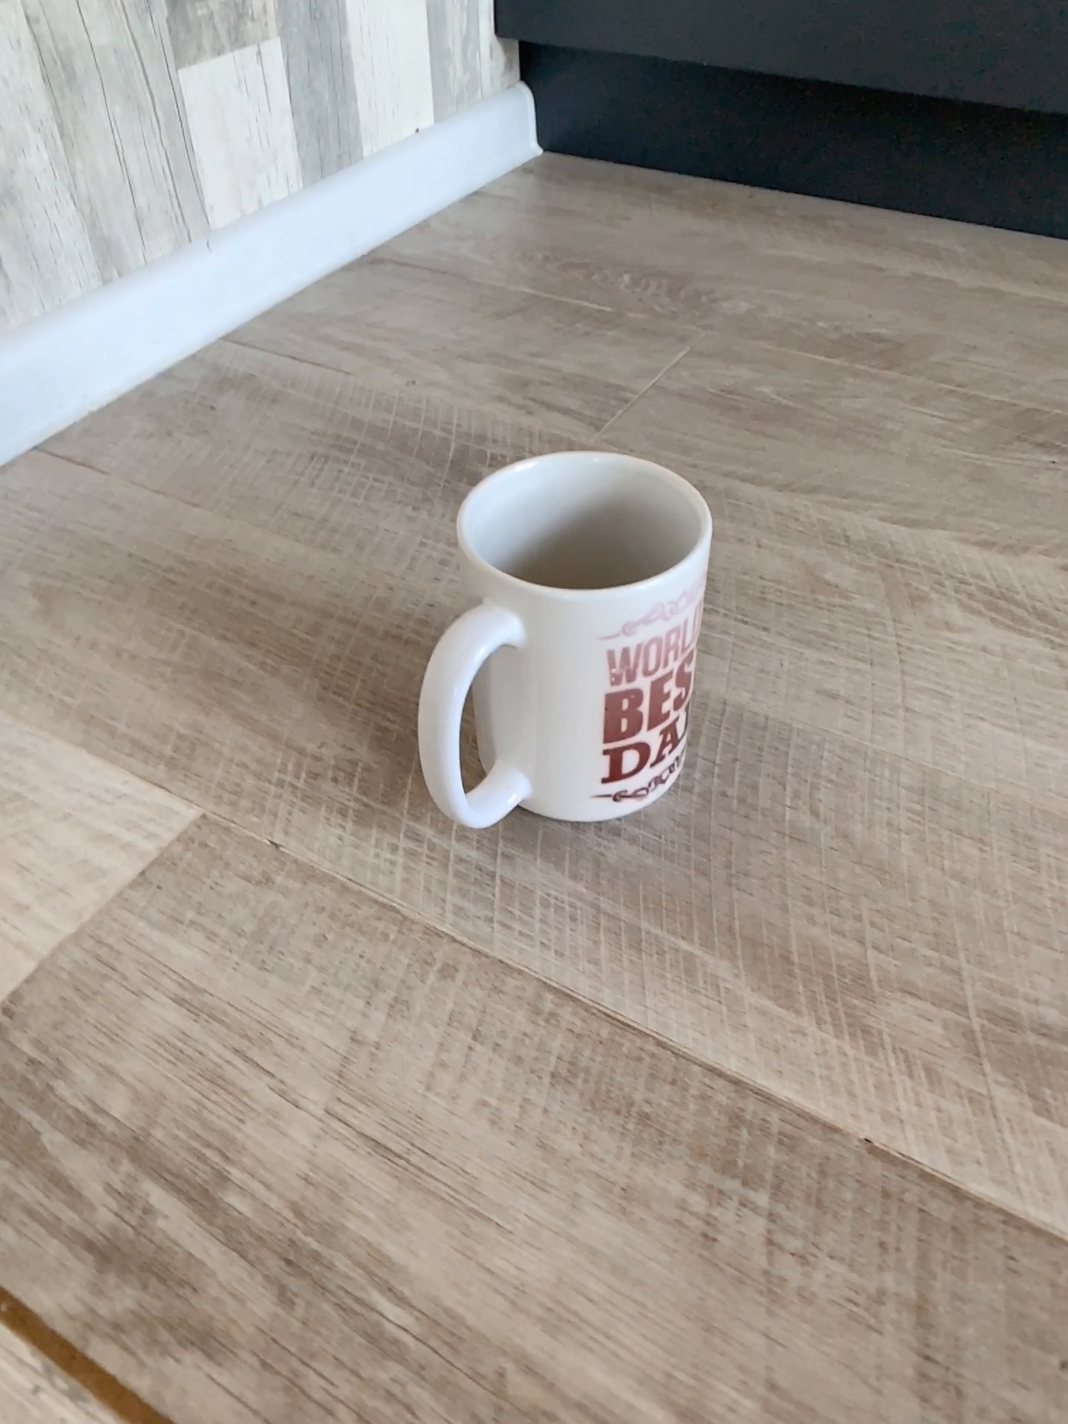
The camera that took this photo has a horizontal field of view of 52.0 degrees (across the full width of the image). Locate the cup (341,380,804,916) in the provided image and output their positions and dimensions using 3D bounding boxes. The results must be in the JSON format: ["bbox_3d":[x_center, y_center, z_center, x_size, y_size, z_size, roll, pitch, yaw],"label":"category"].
[{"bbox_3d":[0.017,-0.026,0.372,0.080,0.110,0.130,27,50,27],"label":"cup"}]
